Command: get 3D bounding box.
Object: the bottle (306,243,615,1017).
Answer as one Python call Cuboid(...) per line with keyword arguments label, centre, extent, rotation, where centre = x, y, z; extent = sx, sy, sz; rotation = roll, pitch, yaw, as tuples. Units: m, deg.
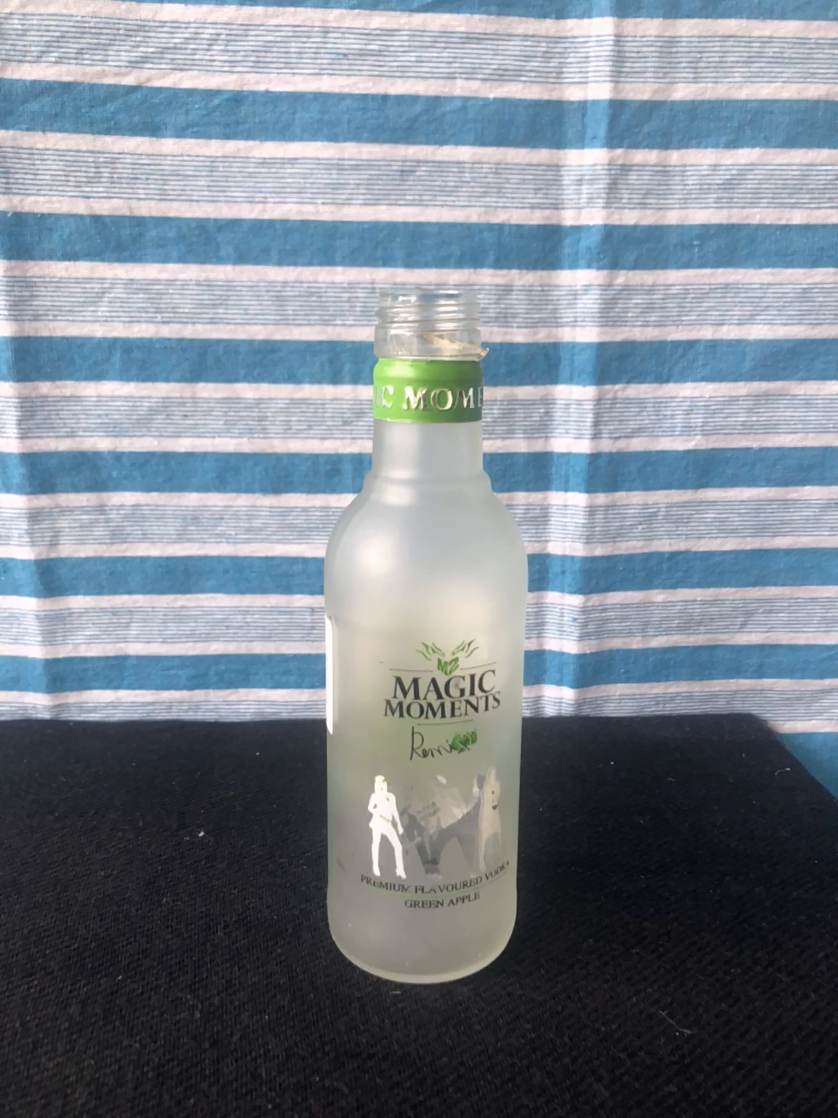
Cuboid(label="bottle", centre=(0.002, 0.014, 0.196), extent=(0.050, 0.149, 0.050), rotation=(2, 16, -1))
